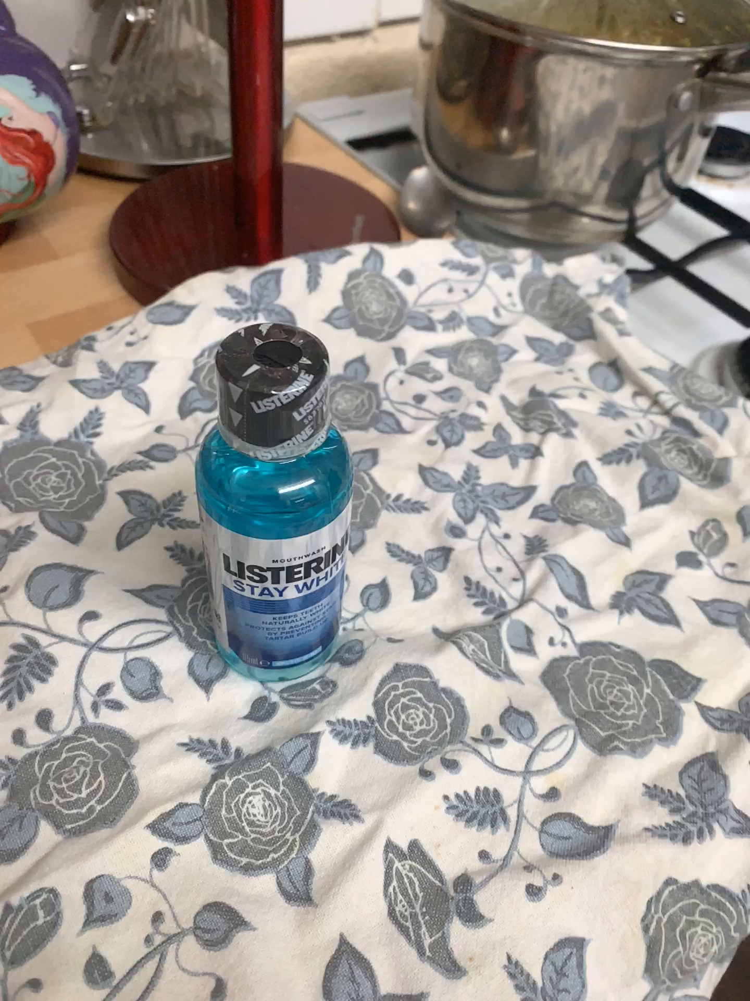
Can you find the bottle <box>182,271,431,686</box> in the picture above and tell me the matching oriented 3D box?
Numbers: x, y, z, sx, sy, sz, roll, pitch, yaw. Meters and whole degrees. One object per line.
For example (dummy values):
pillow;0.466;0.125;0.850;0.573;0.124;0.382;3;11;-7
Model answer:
bottle;-0.021;-0.001;0.214;0.050;0.109;0.050;3;48;-4
